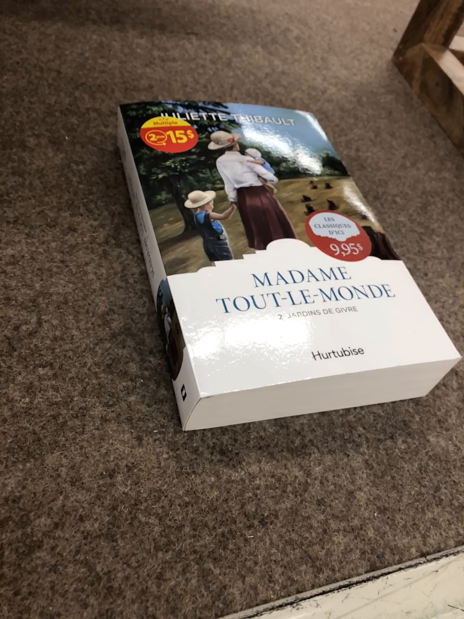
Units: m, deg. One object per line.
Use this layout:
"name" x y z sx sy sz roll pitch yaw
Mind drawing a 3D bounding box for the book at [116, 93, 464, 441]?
"book" 0.025 -0.045 0.328 0.160 0.050 0.222 -5 56 -20
